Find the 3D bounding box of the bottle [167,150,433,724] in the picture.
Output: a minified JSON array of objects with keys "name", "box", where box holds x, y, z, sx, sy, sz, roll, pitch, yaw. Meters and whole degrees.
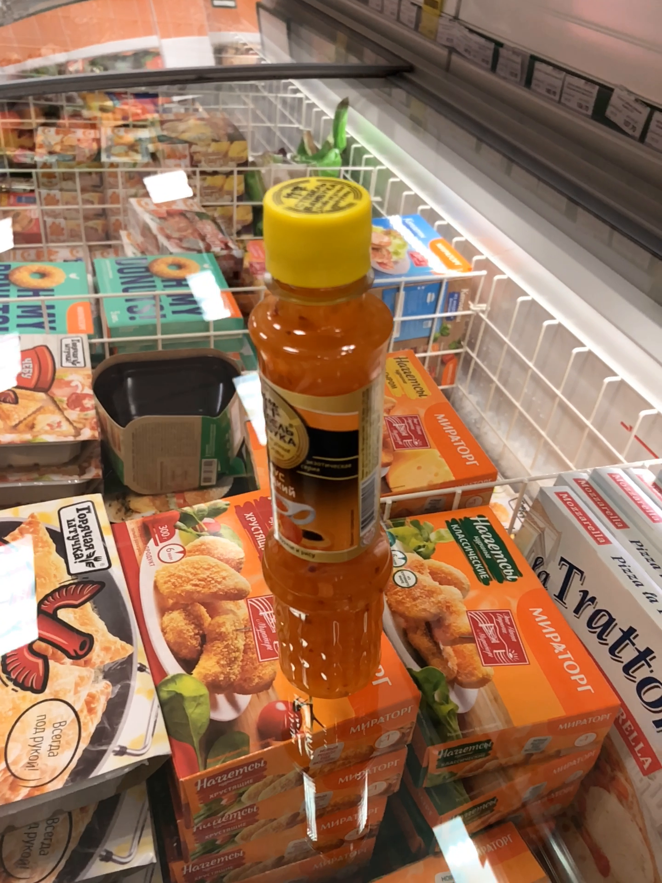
[{"name":"bottle","box":[-0.008,0.012,0.257,0.049,0.201,0.051,0,39,0]}]
